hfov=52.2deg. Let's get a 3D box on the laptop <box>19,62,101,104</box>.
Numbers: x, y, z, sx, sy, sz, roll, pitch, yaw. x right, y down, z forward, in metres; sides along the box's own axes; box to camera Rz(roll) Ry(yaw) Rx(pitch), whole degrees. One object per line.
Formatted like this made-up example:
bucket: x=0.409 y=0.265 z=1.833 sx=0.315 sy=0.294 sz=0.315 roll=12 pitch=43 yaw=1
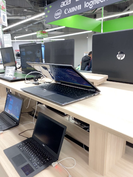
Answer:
laptop: x=-0.042 y=-0.053 z=0.629 sx=0.217 sy=0.128 sz=0.321 roll=-13 pitch=17 yaw=-41
